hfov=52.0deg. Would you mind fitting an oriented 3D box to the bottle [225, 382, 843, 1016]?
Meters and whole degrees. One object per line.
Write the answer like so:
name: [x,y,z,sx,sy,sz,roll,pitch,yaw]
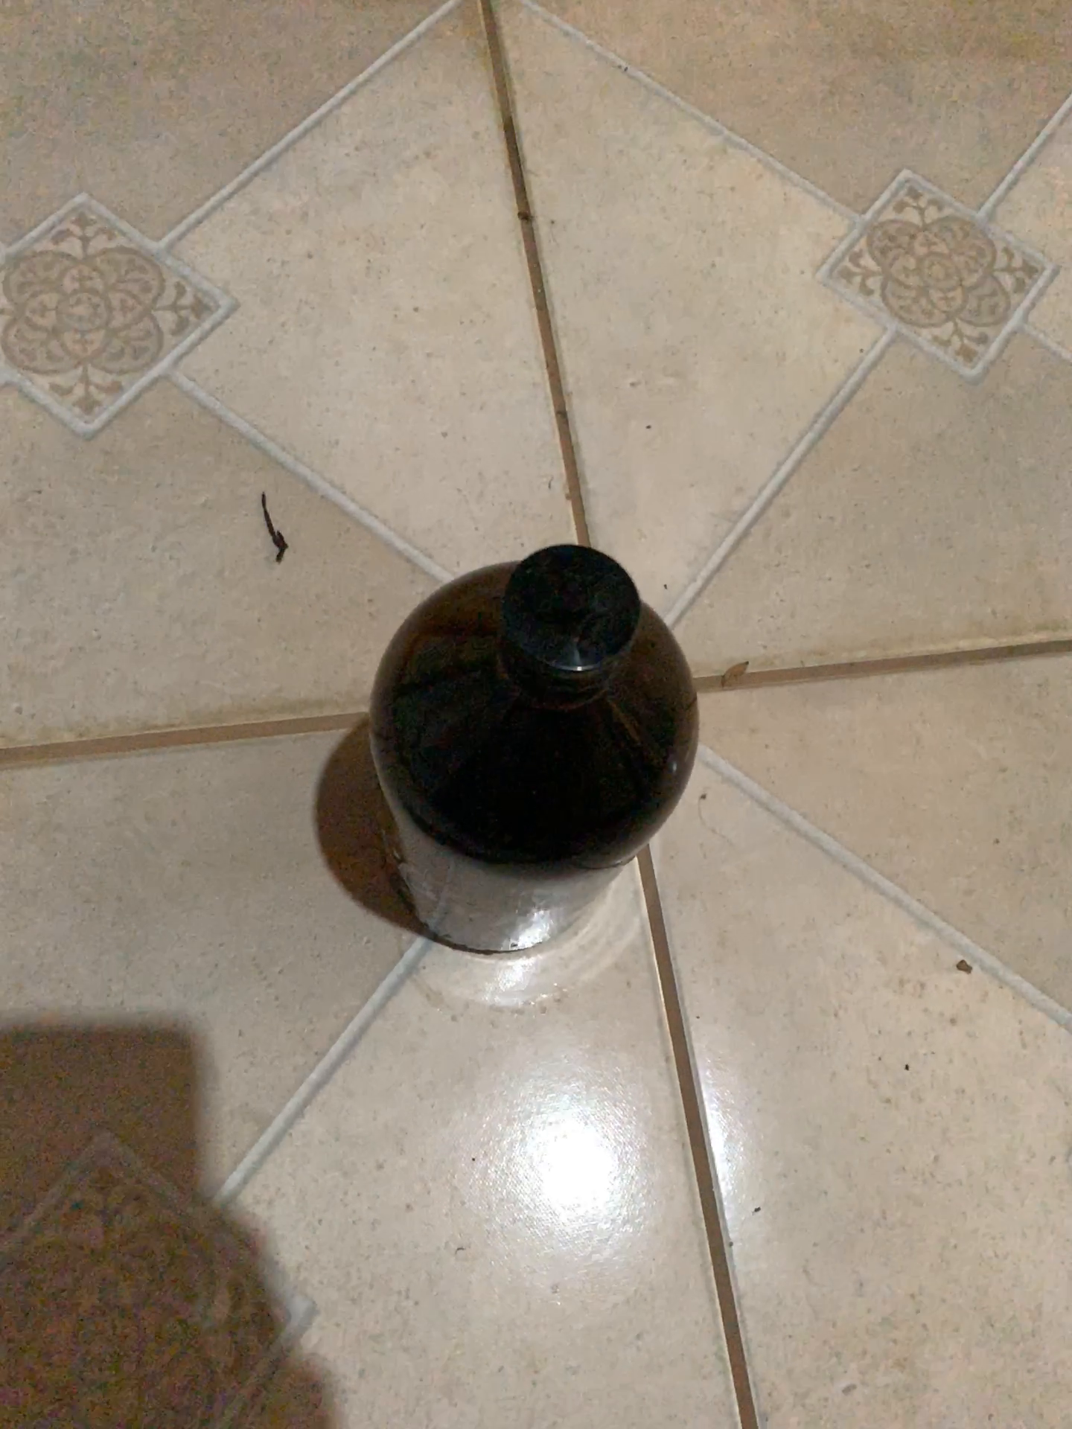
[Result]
bottle: [-0.006,0.019,0.327,0.100,0.210,0.090,25,71,4]
